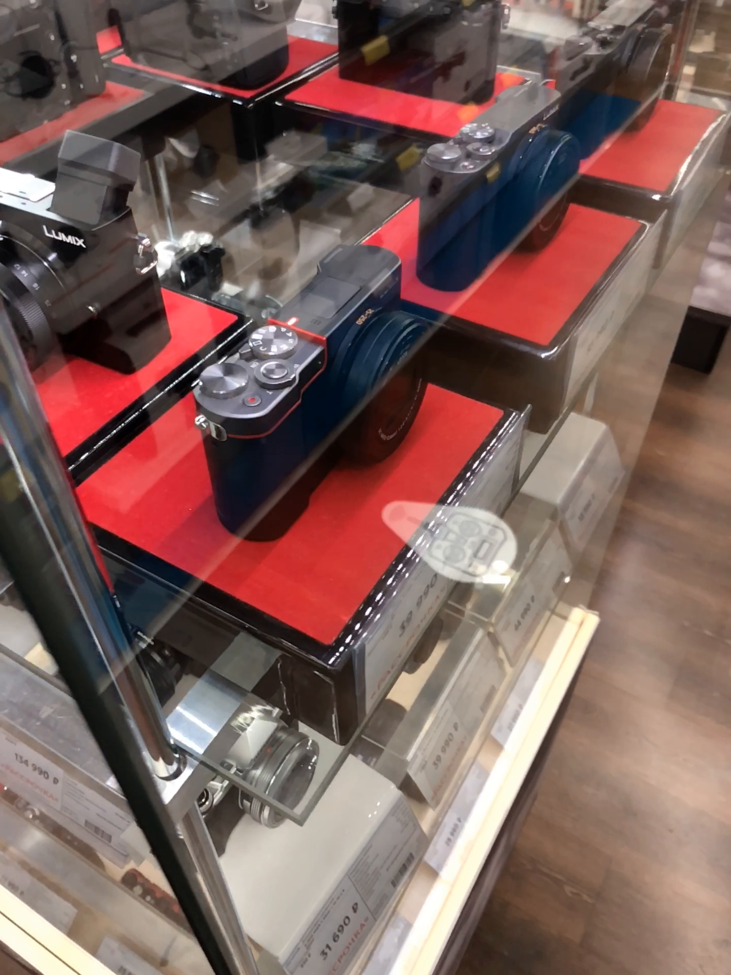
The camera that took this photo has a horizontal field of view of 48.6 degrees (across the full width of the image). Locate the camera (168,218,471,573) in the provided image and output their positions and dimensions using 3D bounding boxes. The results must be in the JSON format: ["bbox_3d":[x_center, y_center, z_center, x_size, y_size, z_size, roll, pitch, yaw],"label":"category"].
[{"bbox_3d":[-0.011,-0.038,0.303,0.050,0.070,0.113,24,51,21],"label":"camera"}]

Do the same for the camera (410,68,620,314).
[{"bbox_3d":[0.075,-0.152,0.409,0.051,0.070,0.113,26,51,23],"label":"camera"}]

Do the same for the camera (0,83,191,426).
[{"bbox_3d":[-0.152,-0.104,0.359,0.113,0.101,0.069,22,50,20],"label":"camera"}]
